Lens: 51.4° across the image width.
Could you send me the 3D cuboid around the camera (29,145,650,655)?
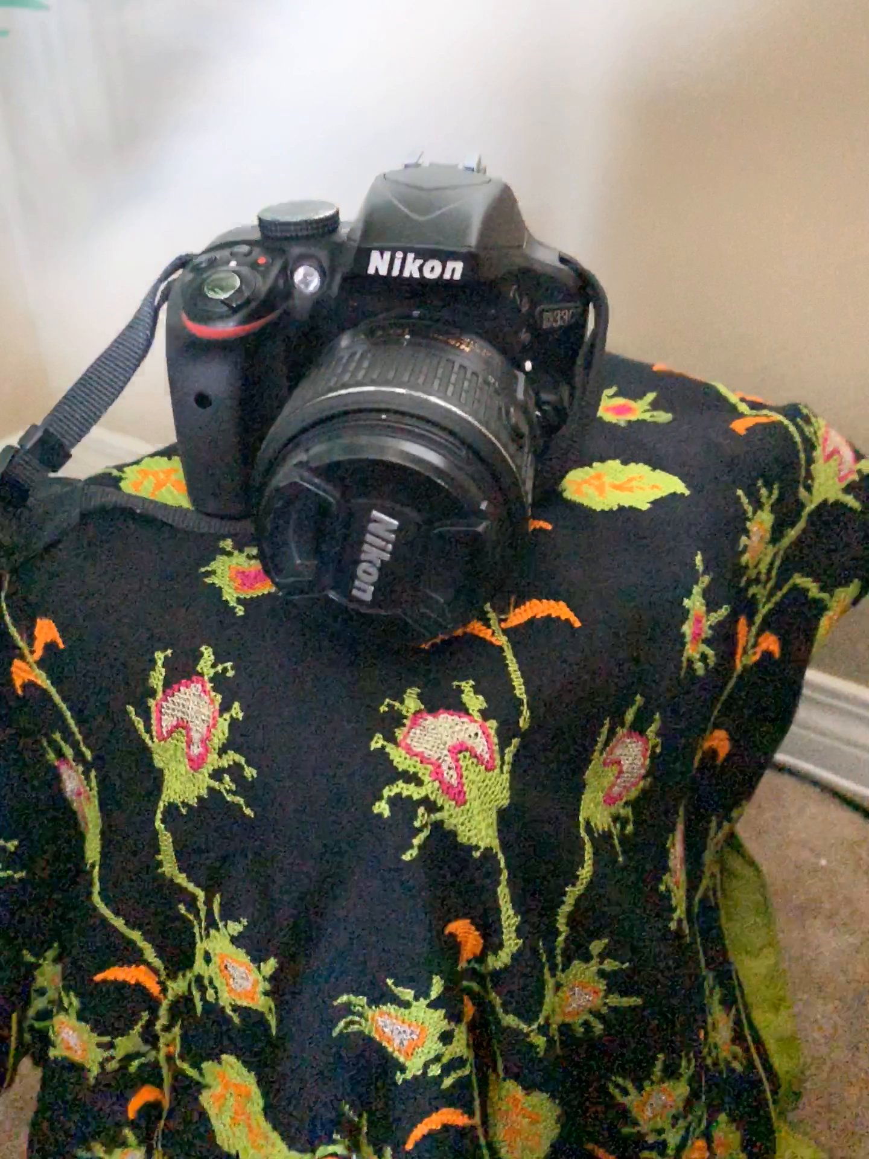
[{"bbox_3d":[-0.017,-0.051,0.238,0.120,0.099,0.091,3,34,3],"label":"camera"}]
